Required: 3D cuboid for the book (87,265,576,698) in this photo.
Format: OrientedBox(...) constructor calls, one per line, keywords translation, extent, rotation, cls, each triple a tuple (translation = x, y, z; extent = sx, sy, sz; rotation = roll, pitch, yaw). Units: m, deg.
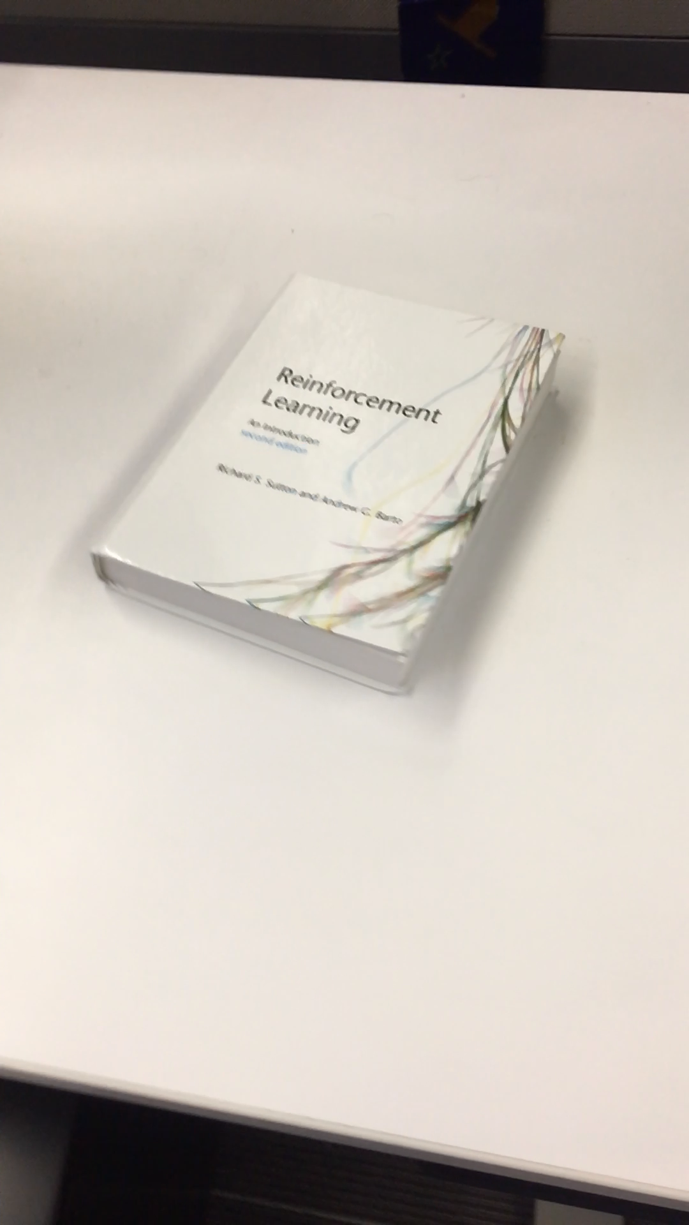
OrientedBox(translation=(0.002, -0.088, 0.567), extent=(0.180, 0.030, 0.240), rotation=(20, 59, 16), cls="book")
